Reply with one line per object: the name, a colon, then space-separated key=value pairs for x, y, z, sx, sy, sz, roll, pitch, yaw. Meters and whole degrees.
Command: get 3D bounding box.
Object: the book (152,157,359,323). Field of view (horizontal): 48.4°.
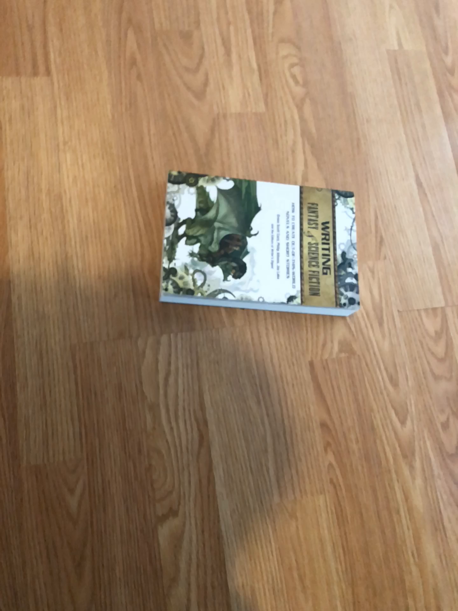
book: x=0.032 y=-0.072 z=0.587 sx=0.228 sy=0.040 sz=0.165 roll=4 pitch=76 yaw=-11
